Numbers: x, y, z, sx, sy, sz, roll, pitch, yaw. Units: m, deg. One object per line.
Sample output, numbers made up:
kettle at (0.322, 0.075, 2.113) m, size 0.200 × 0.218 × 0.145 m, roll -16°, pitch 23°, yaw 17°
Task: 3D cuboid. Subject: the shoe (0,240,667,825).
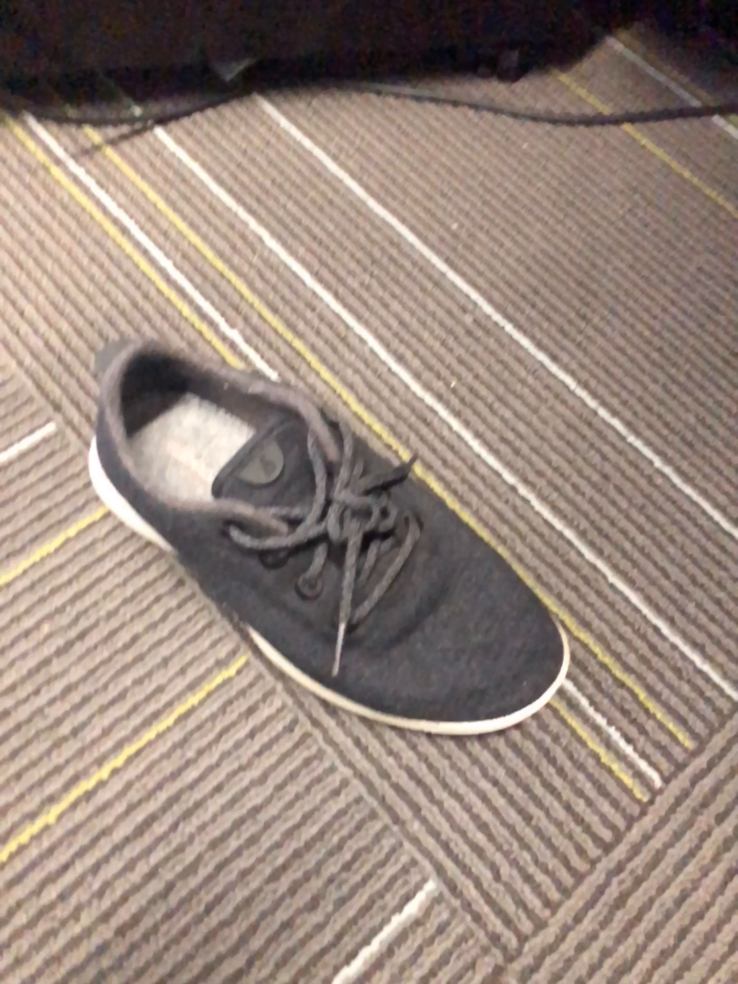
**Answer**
shoe at (-0.025, 0.011, 0.370) m, size 0.270 × 0.070 × 0.120 m, roll 34°, pitch 66°, yaw 12°
